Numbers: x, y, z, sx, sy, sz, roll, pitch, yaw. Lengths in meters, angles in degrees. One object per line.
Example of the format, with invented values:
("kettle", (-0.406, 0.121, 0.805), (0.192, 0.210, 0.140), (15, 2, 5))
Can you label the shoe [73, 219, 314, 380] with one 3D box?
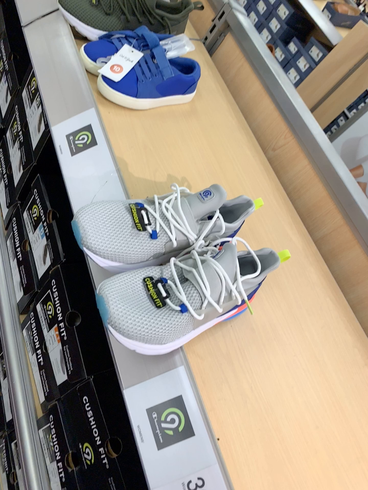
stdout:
("shoe", (0.026, 0.048, 0.453), (0.271, 0.090, 0.110), (-8, 64, -44))

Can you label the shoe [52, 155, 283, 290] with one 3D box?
("shoe", (-0.010, -0.024, 0.487), (0.271, 0.090, 0.110), (-1, 59, -41))
